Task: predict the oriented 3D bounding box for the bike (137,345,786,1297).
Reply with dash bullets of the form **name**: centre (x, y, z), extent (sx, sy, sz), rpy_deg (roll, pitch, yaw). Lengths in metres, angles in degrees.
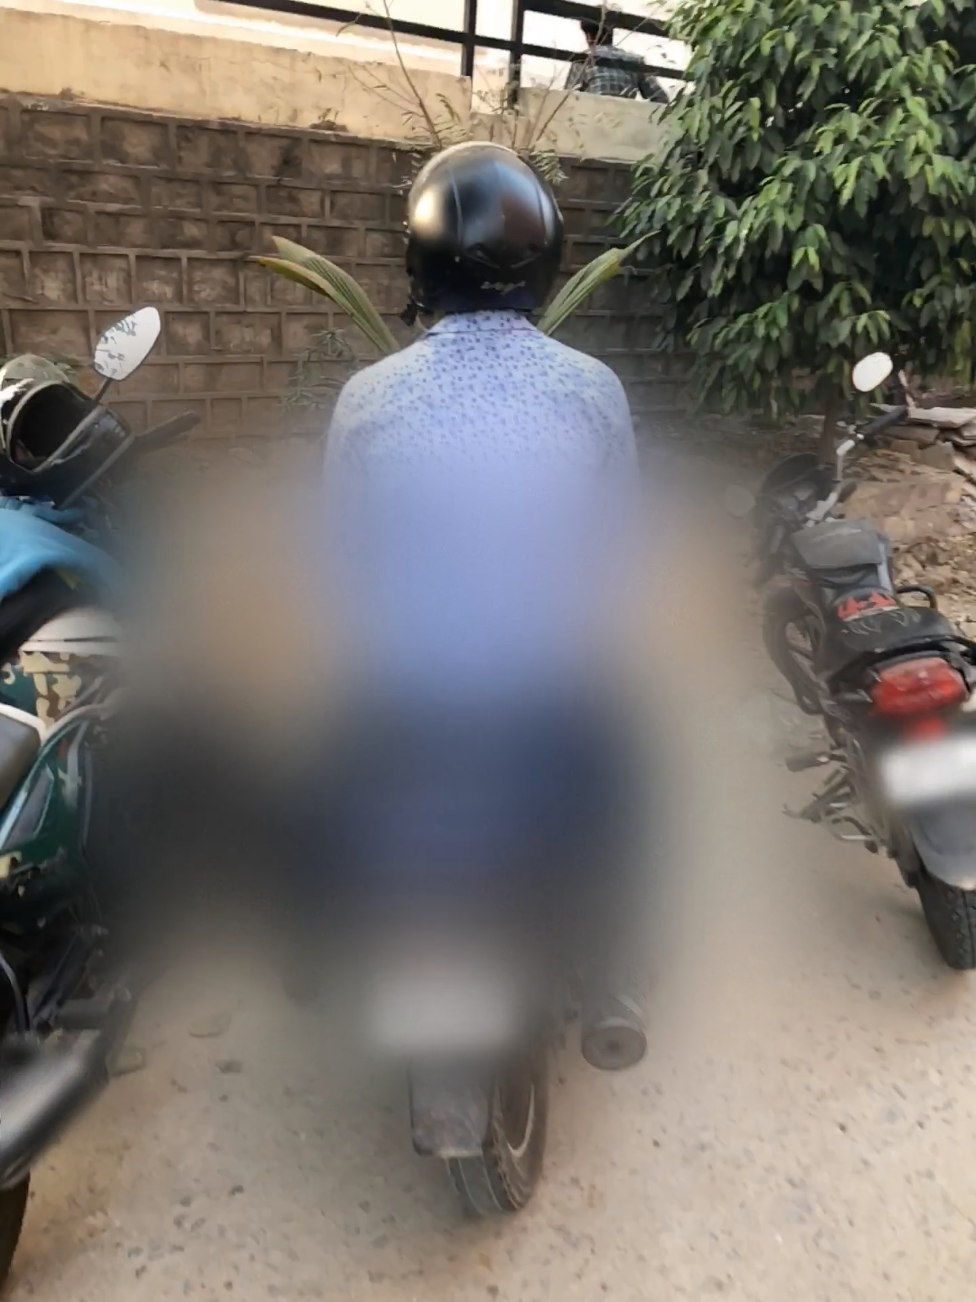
- **bike**: centre (-0.028, 0.111, 2.154), extent (0.753, 1.076, 1.585), rpy_deg (5, 25, 1)
